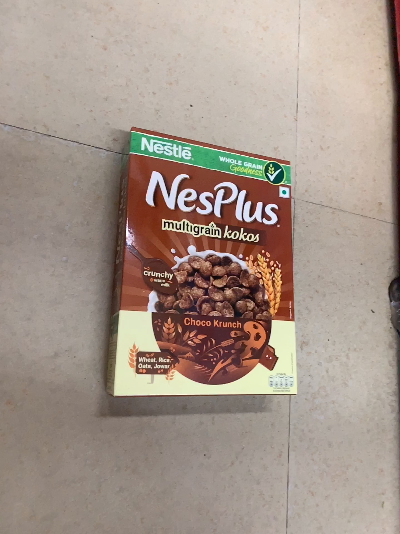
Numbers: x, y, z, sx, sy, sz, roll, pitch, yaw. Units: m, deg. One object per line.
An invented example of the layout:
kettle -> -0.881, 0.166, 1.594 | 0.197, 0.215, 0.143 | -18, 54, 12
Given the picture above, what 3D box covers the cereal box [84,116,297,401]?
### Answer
cereal box -> -0.007, 0.001, 0.468 | 0.210, 0.090, 0.280 | 7, 77, -20
